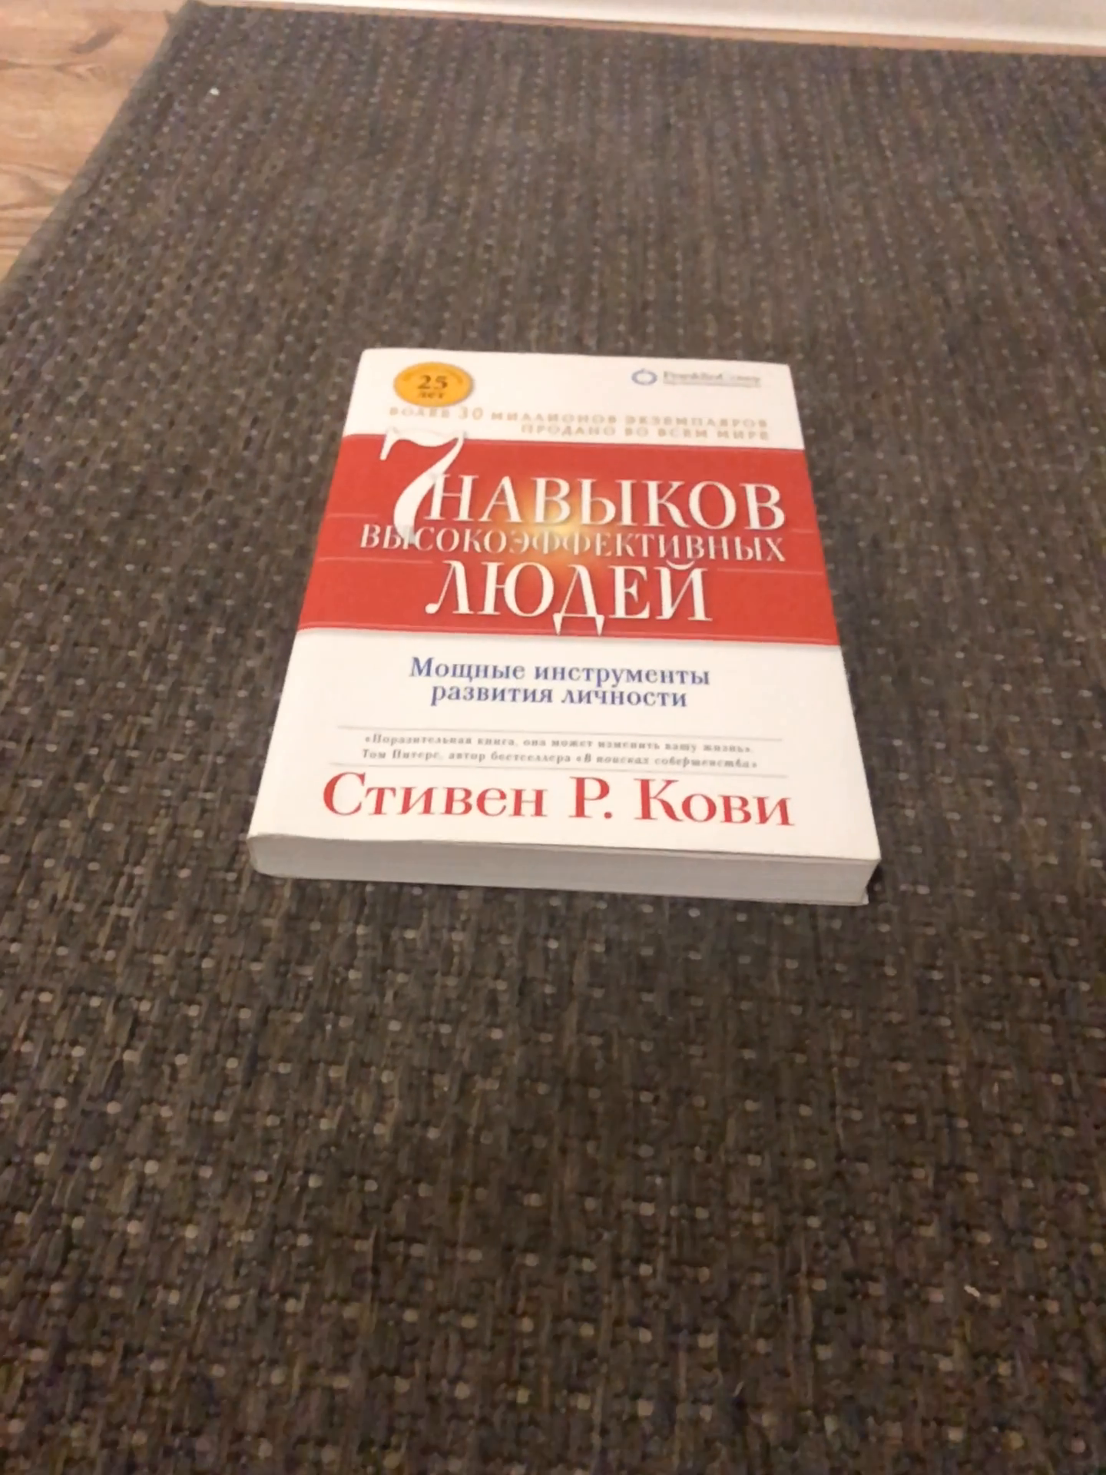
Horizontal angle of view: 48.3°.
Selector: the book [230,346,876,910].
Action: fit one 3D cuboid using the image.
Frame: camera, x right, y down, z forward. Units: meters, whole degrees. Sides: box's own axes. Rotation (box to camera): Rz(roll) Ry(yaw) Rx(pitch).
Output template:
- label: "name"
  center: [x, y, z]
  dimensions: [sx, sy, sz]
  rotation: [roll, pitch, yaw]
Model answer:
- label: "book"
  center: [0.005, -0.052, 0.402]
  dimensions: [0.166, 0.020, 0.237]
  rotation: [2, 48, 1]
